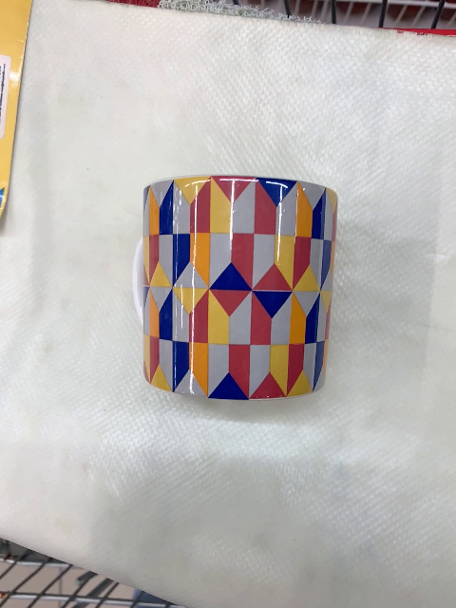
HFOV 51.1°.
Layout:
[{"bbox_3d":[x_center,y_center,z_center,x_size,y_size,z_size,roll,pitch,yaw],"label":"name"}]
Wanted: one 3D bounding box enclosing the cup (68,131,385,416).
[{"bbox_3d":[-0.003,-0.013,0.197,0.100,0.080,0.080,6,97,40],"label":"cup"}]
